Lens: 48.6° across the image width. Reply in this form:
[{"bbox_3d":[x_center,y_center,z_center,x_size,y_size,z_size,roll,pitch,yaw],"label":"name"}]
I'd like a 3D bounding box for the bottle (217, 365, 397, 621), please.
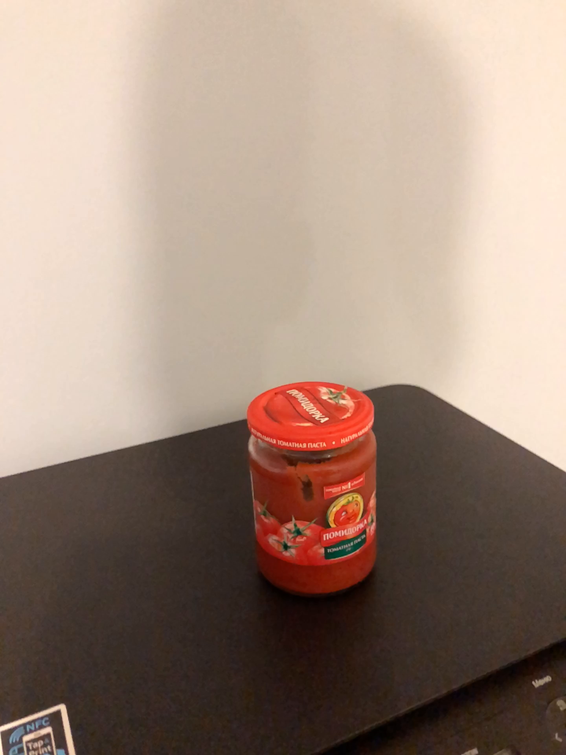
[{"bbox_3d":[0.011,0.061,0.351,0.080,0.109,0.070,-7,23,-10],"label":"bottle"}]
